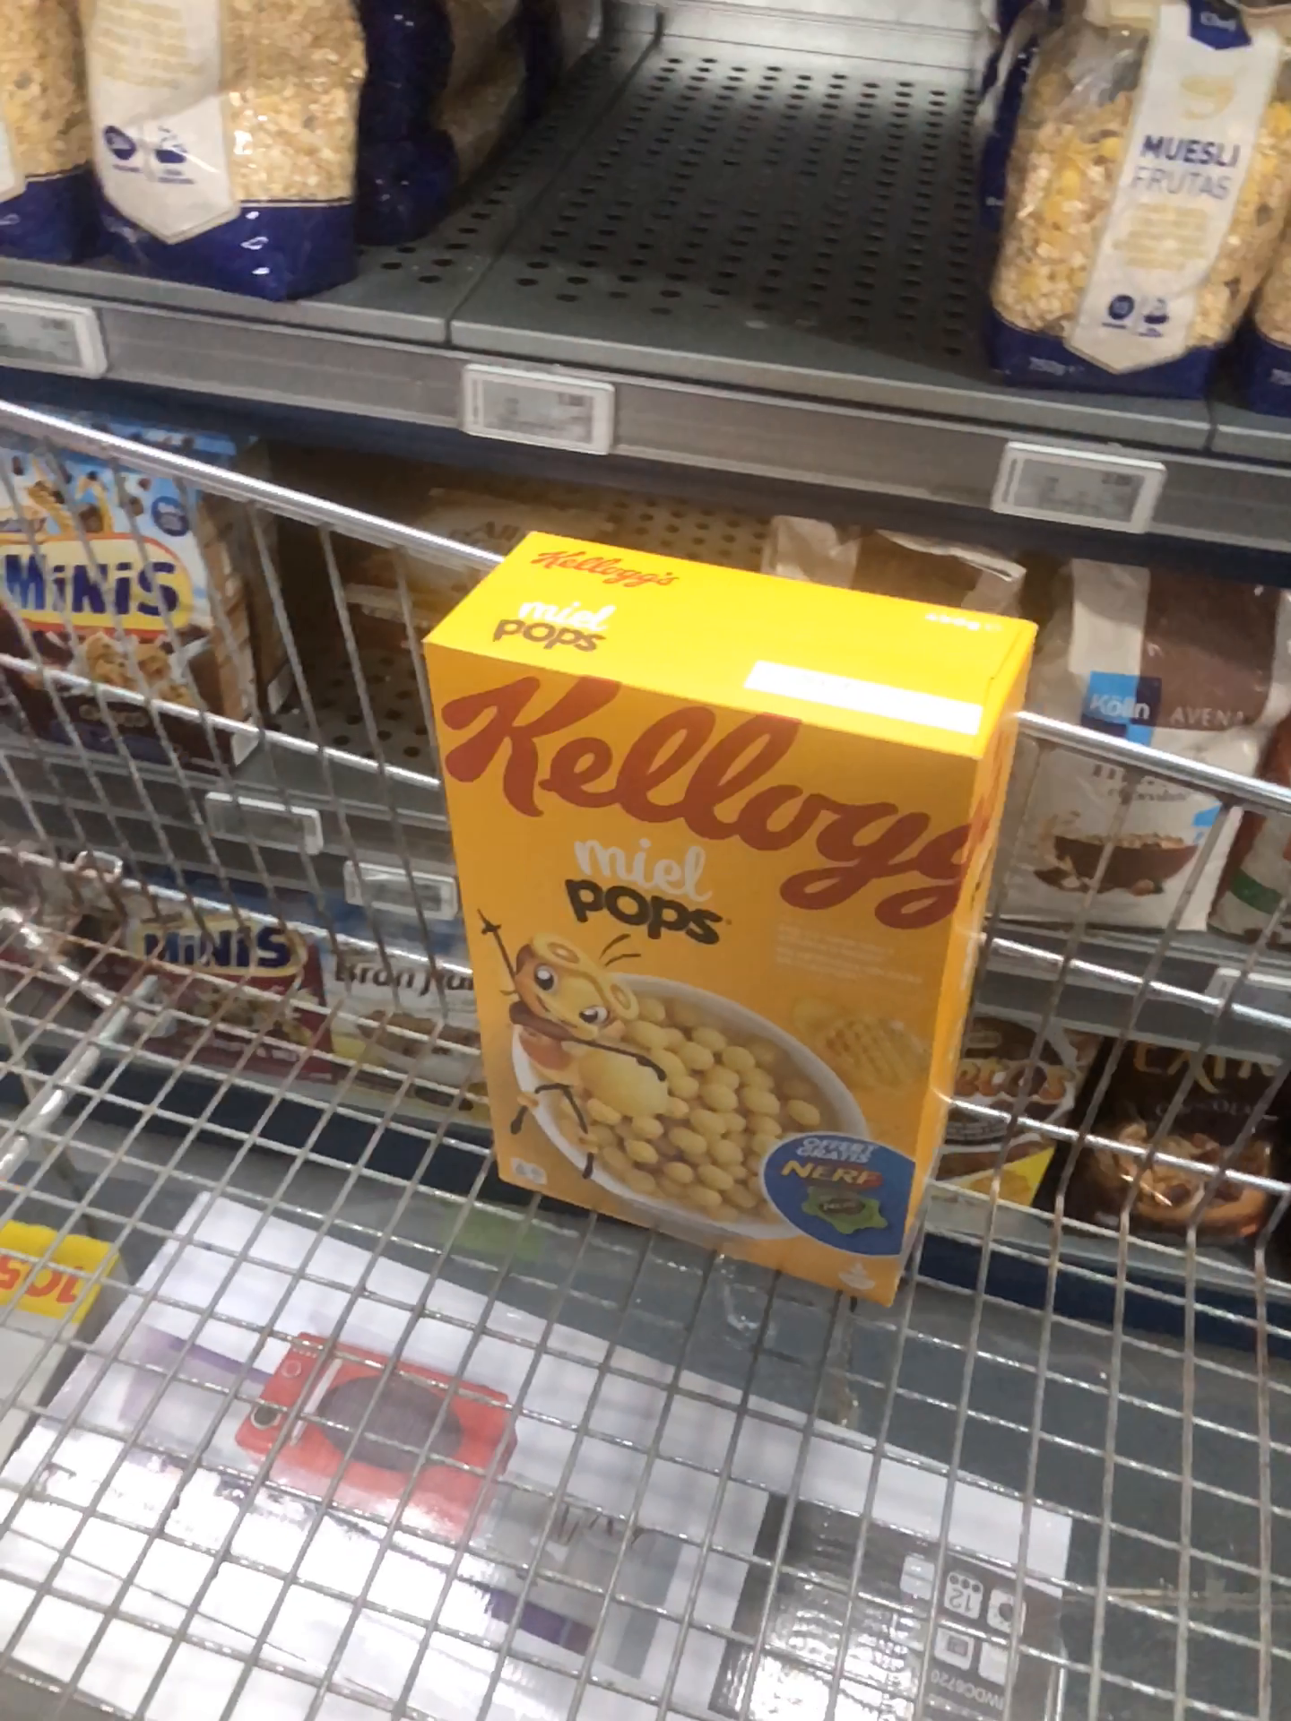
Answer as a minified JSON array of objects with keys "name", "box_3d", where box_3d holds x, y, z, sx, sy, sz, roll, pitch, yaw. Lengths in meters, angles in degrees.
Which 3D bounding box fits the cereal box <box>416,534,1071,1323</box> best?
[{"name":"cereal box","box_3d":[0.032,0.035,0.561,0.200,0.279,0.090,13,41,14]}]
